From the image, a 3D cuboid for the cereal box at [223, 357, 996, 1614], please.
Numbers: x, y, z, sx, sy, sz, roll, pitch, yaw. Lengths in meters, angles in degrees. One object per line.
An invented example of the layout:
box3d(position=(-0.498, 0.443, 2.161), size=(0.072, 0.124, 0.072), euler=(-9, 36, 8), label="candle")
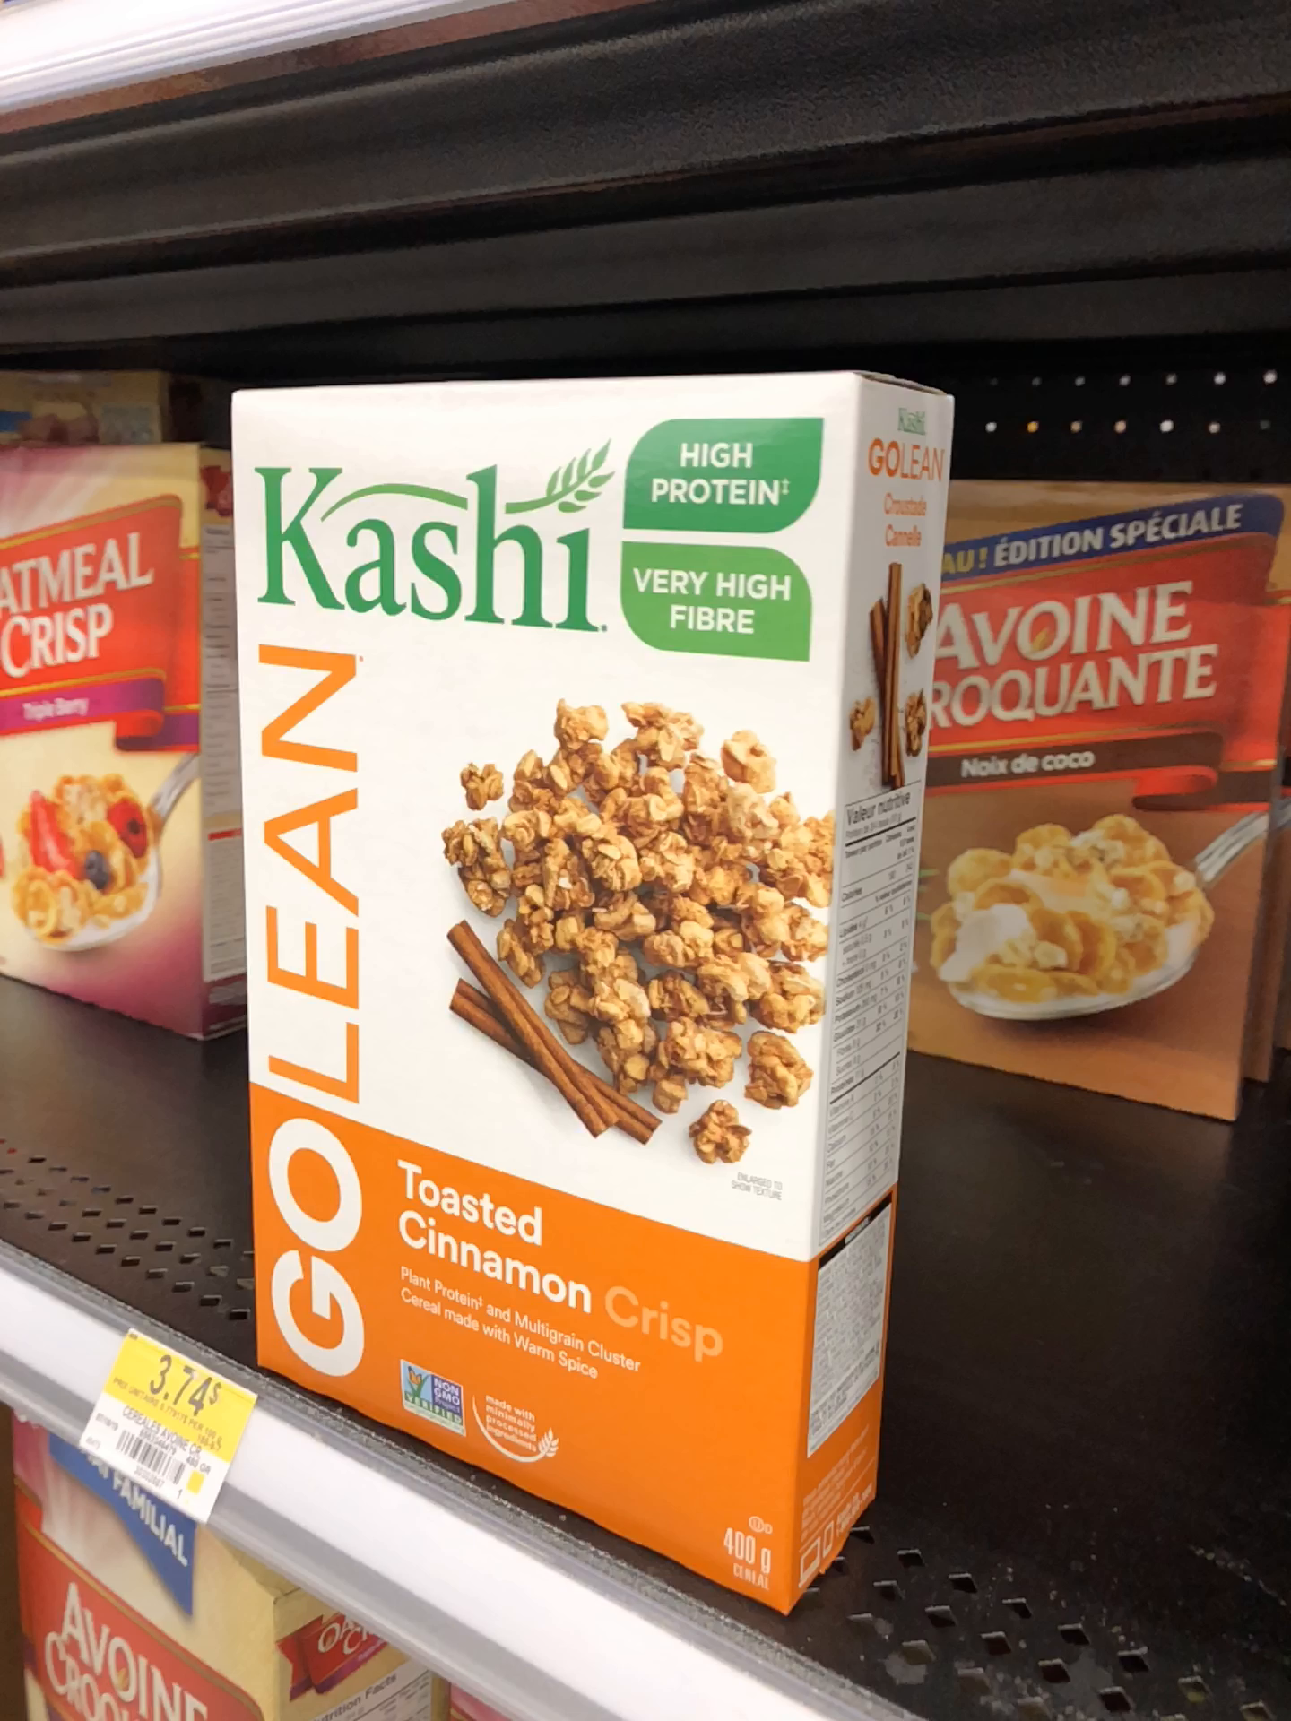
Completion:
box3d(position=(-0.019, 0.018, 0.337), size=(0.170, 0.249, 0.050), euler=(10, 15, 32), label="cereal box")
